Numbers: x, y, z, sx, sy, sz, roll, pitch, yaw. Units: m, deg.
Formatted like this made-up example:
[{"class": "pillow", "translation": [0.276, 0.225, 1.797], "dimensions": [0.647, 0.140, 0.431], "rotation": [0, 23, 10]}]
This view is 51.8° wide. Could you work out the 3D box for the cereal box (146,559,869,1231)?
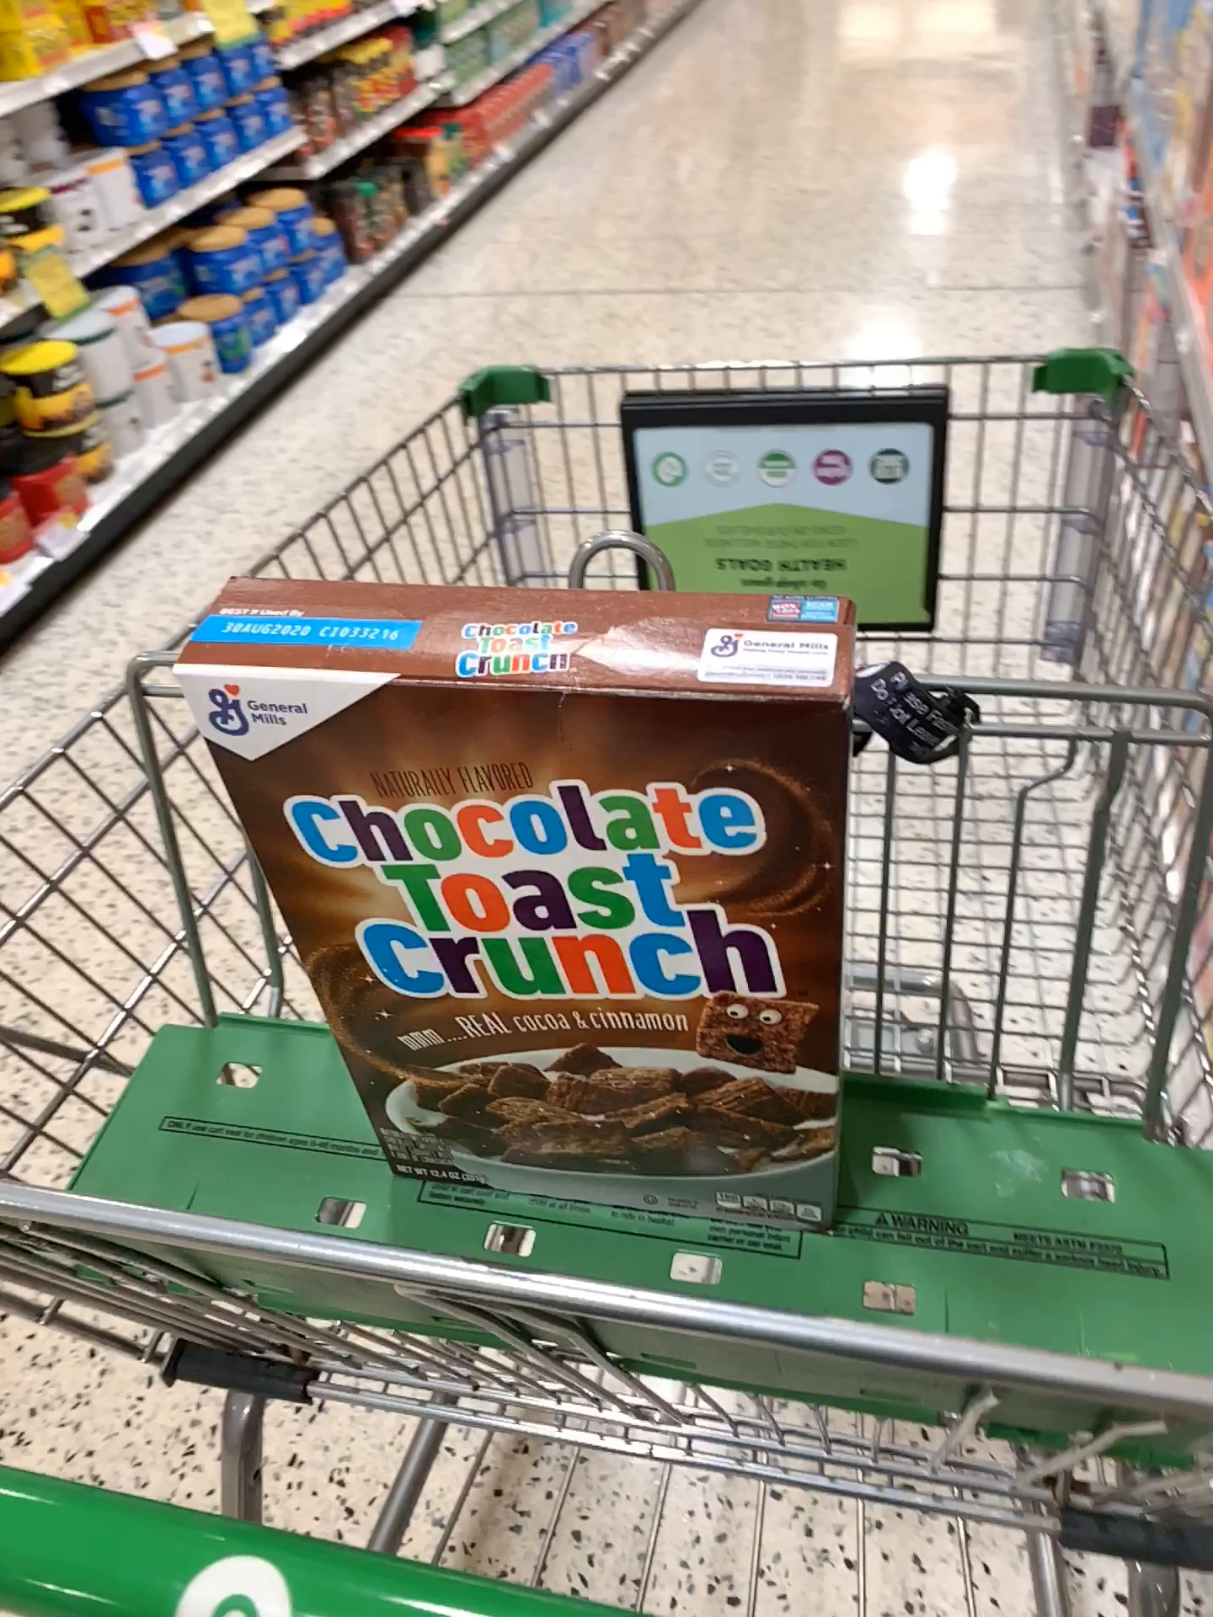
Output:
[{"class": "cereal box", "translation": [-0.014, 0.046, 0.447], "dimensions": [0.200, 0.277, 0.051], "rotation": [4, 44, 13]}]
